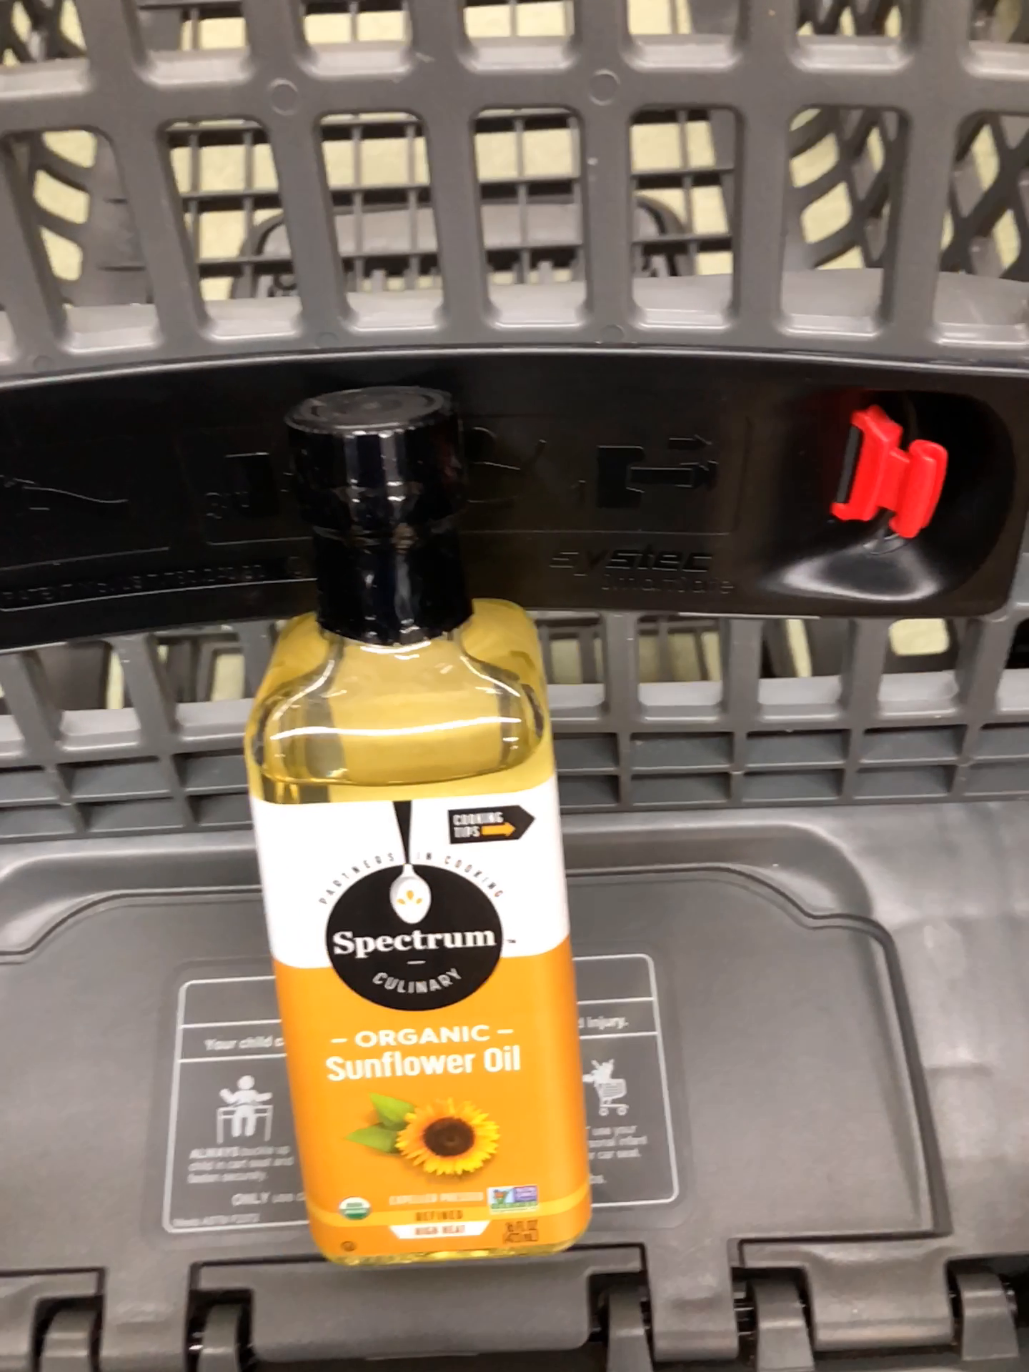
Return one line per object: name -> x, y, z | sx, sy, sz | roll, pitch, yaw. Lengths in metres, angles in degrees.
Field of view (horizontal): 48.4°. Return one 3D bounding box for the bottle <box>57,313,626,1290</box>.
bottle -> -0.021, 0.034, 0.245 | 0.080, 0.200, 0.070 | -4, 31, 0
